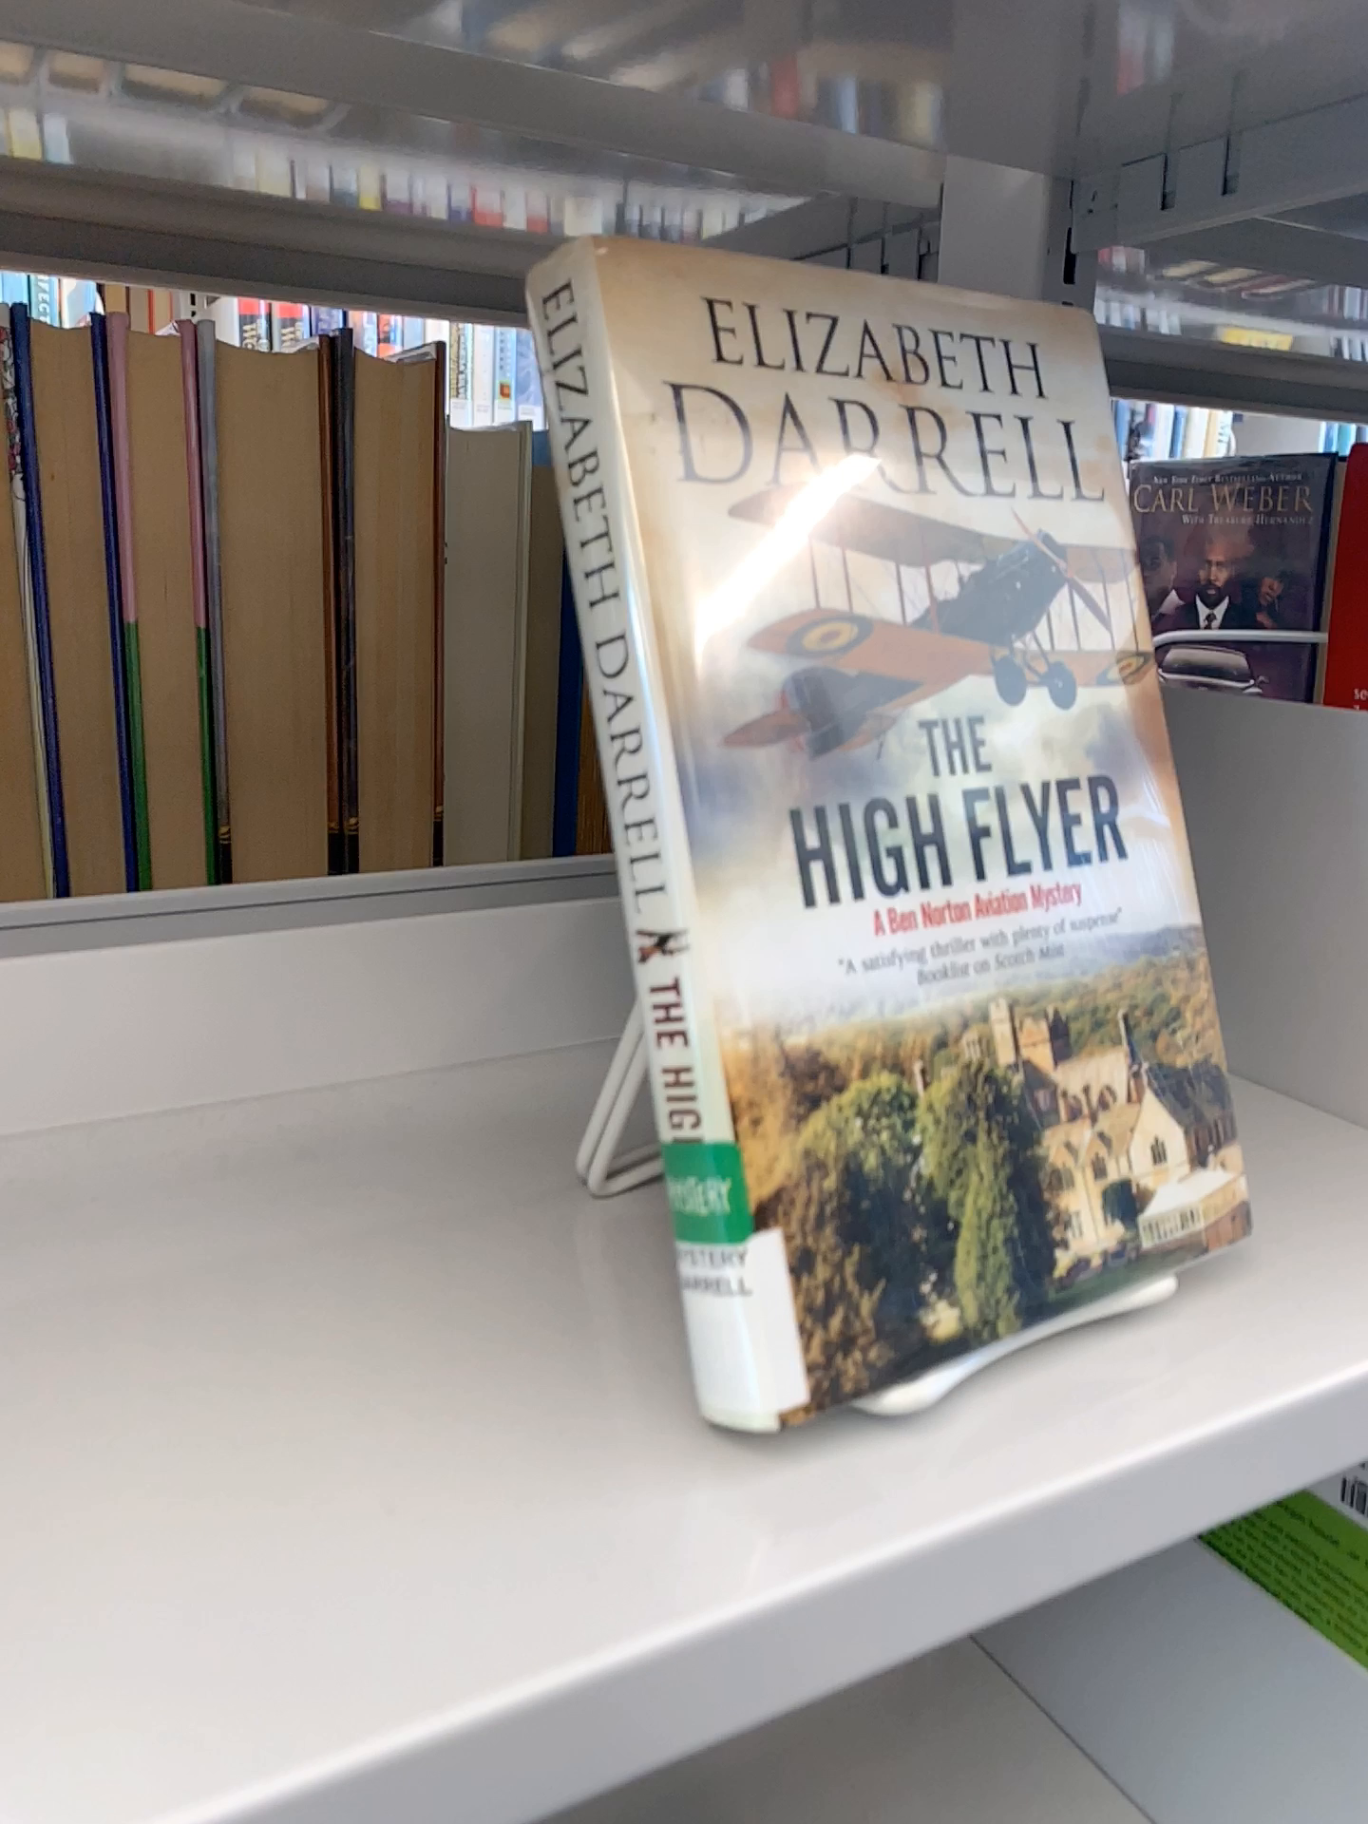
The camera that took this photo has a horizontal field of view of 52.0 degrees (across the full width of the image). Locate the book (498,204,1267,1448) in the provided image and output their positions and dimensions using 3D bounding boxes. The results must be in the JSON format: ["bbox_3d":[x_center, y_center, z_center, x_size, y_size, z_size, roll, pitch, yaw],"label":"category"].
[{"bbox_3d":[0.050,-0.023,0.296,0.151,0.214,0.031,-8,-1,-36],"label":"book"}]
